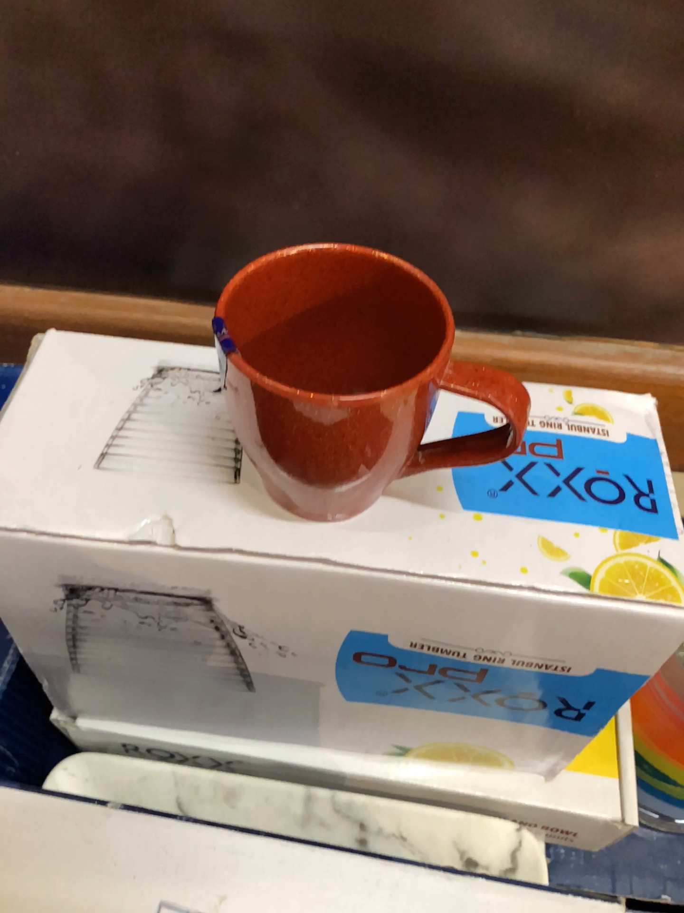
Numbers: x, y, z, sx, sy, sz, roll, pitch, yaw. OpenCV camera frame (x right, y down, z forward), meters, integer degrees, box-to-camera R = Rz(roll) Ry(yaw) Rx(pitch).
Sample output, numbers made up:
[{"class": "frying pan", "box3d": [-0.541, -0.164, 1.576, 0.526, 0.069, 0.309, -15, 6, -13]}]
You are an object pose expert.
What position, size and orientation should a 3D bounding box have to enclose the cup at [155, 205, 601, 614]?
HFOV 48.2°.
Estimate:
[{"class": "cup", "box3d": [0.012, -0.016, 0.226, 0.100, 0.070, 0.070, 16, 49, 13]}]
